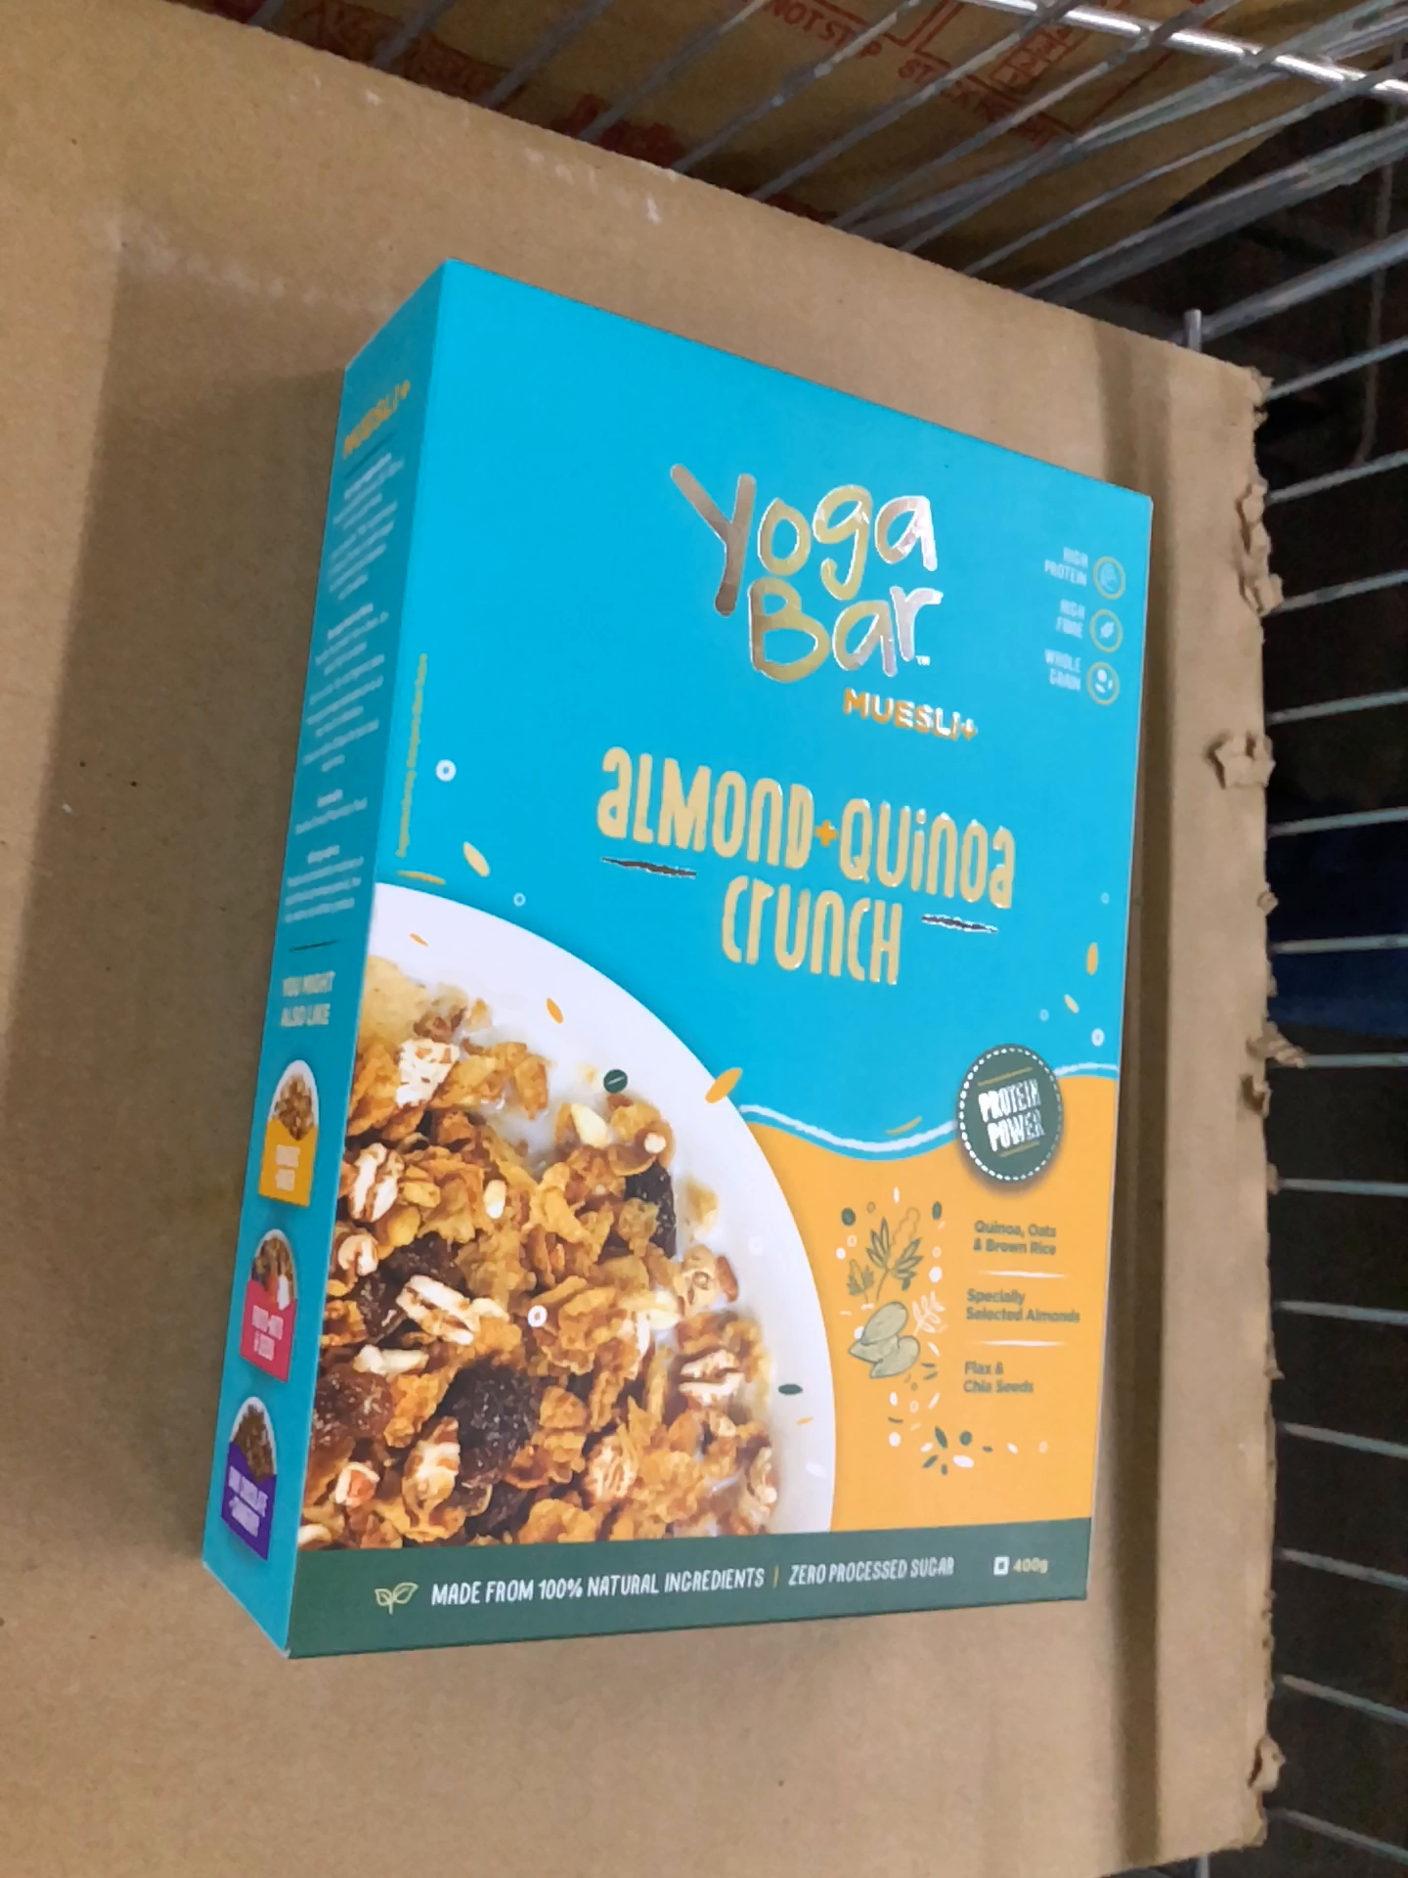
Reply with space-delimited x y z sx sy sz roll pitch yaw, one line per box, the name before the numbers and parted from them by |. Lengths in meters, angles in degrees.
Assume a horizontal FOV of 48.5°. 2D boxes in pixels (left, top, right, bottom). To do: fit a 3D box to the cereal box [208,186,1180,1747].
cereal box | 0.005 0.009 0.309 0.160 0.070 0.240 8 84 -30
